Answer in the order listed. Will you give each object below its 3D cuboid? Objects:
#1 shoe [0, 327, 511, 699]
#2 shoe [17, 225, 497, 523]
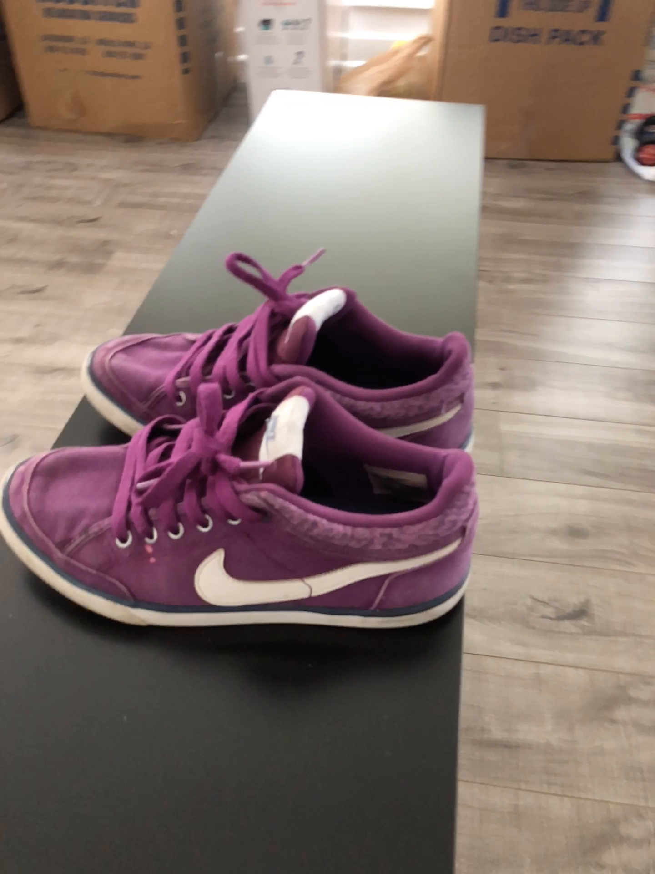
[{"bbox_3d":[-0.048,0.033,0.353,0.250,0.100,0.100,9,45,8],"label":"shoe"},{"bbox_3d":[-0.033,-0.041,0.421,0.240,0.100,0.100,9,45,8],"label":"shoe"}]
